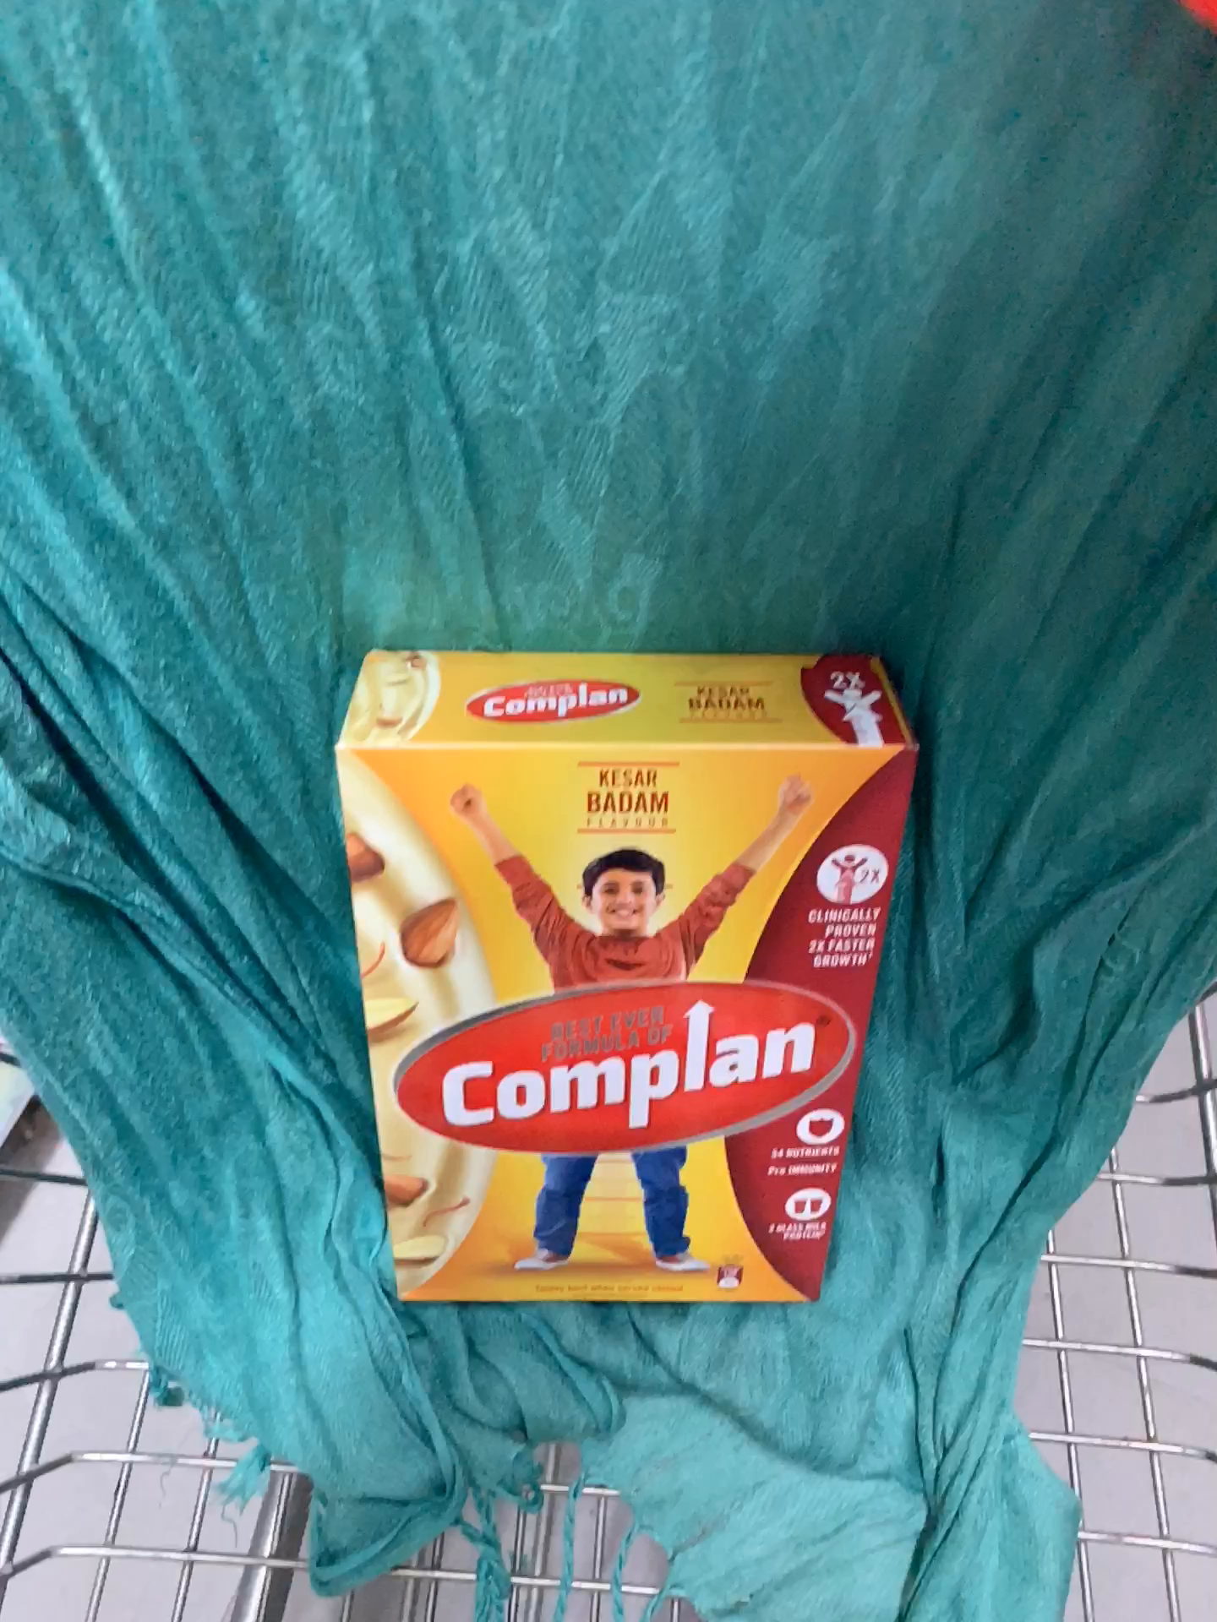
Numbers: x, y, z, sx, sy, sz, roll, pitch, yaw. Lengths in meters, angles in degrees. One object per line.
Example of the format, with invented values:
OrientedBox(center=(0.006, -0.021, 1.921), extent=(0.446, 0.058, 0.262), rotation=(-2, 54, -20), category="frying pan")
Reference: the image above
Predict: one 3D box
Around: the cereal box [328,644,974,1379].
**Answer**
OrientedBox(center=(0.010, 0.060, 0.343), extent=(0.140, 0.200, 0.060), rotation=(1, 27, 1), category="cereal box")
